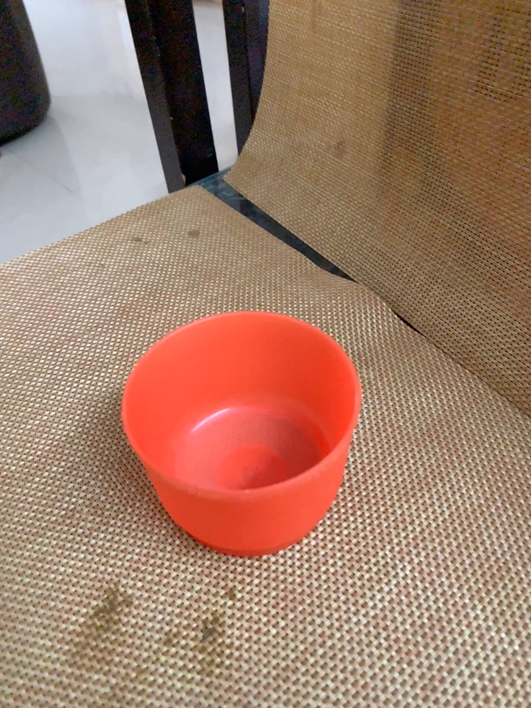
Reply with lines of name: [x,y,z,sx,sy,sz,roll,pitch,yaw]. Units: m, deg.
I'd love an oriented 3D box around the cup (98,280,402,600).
cup: [-0.007,0.024,0.184,0.070,0.050,0.071,-2,45,2]
